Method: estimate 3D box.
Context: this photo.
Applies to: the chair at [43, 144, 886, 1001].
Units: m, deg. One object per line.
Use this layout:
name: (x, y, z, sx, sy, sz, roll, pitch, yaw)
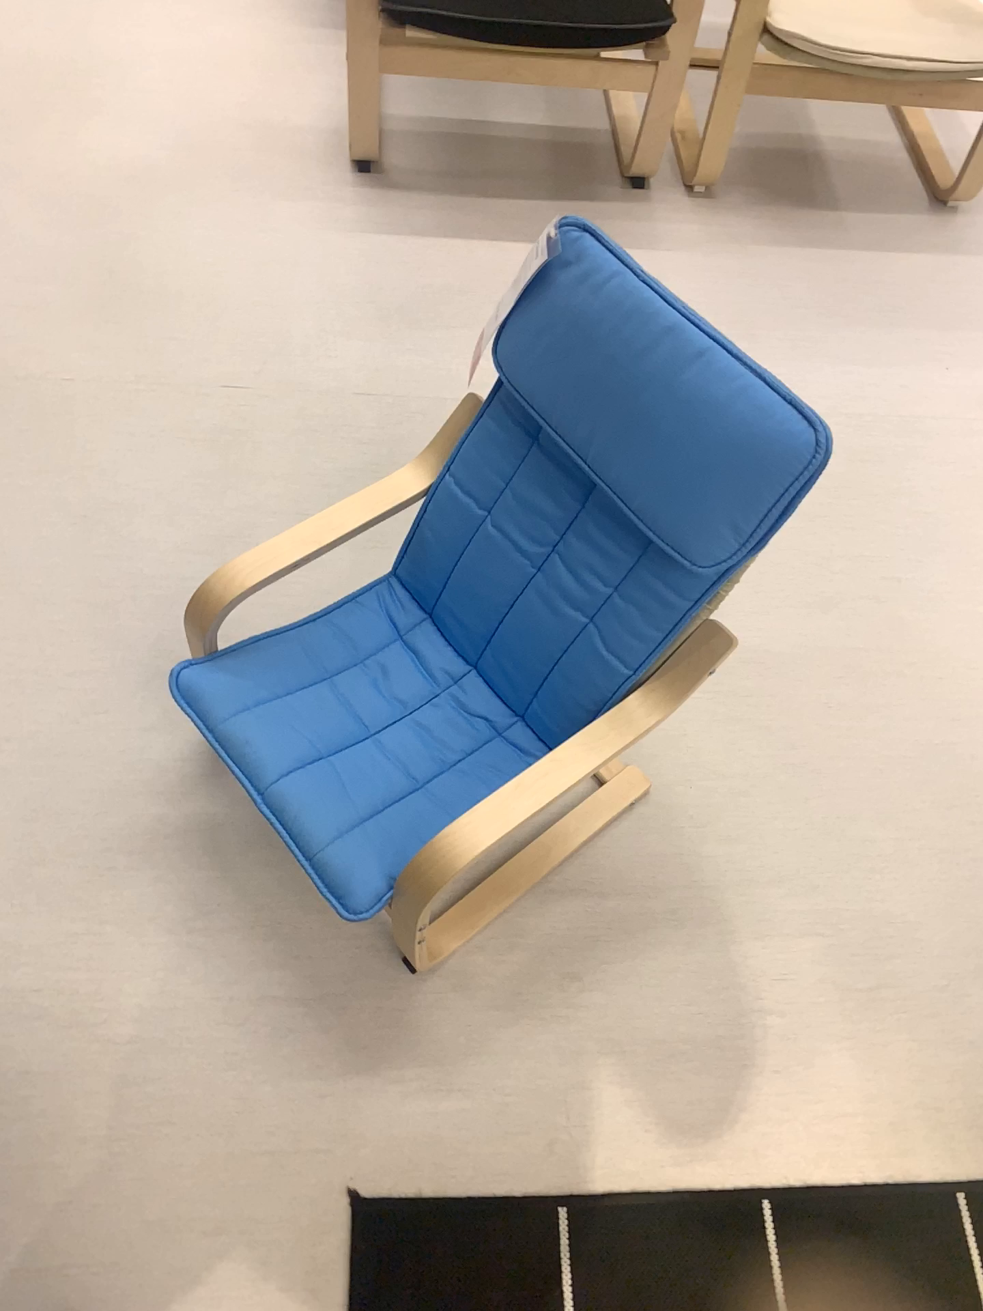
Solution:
chair: (-0.051, -0.059, 1.106, 0.501, 0.639, 0.511, -33, 67, -24)
